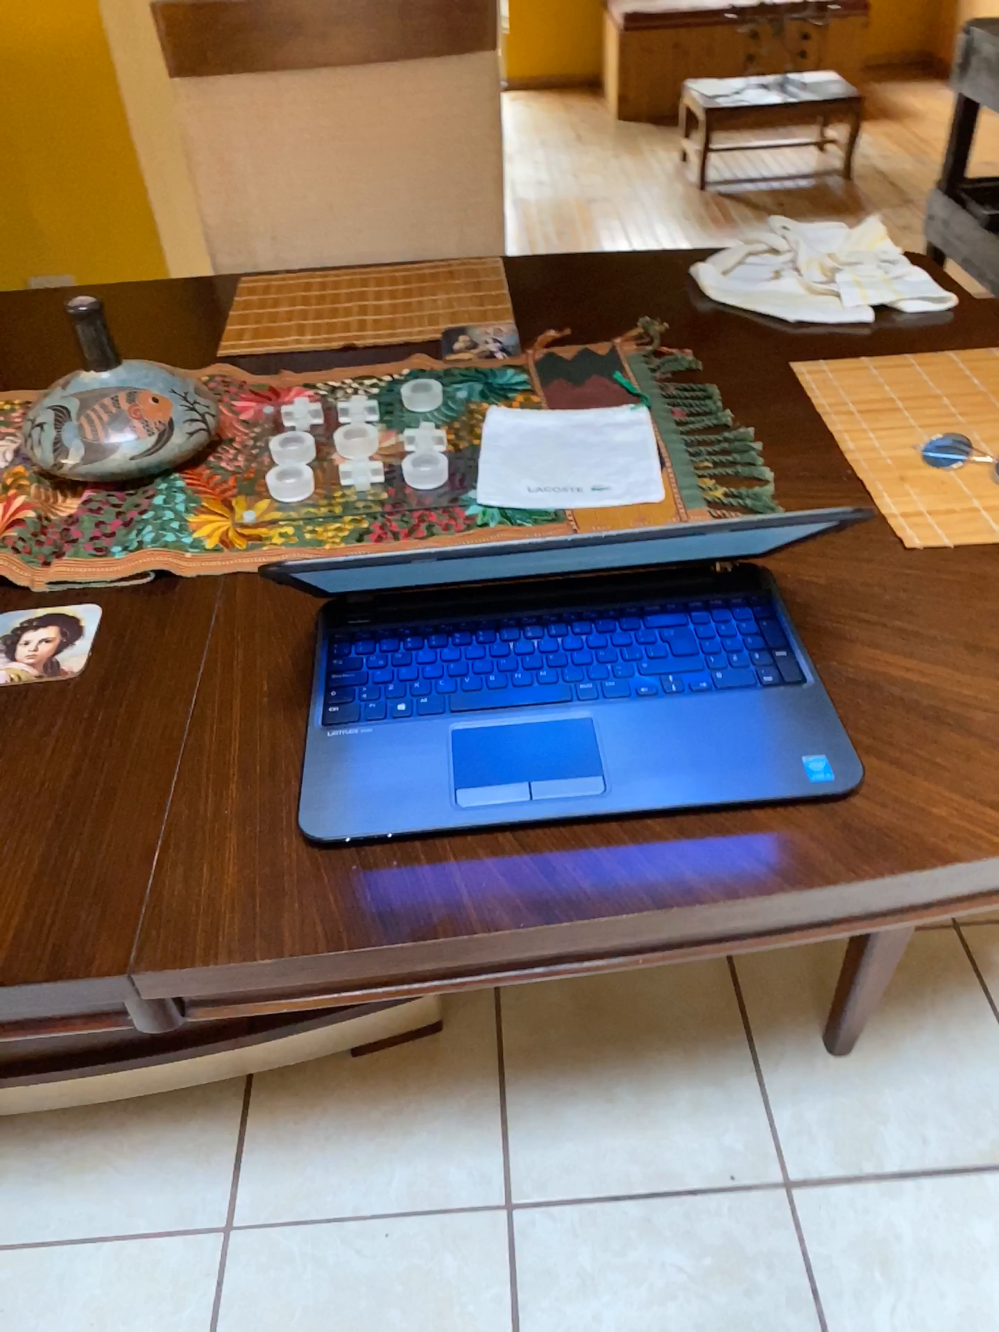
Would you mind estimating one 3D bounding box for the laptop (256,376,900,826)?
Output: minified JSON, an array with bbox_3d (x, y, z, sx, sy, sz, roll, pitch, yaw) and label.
[{"bbox_3d":[0.043,-0.056,0.705,0.356,0.158,0.249,-5,41,-1],"label":"laptop"}]
